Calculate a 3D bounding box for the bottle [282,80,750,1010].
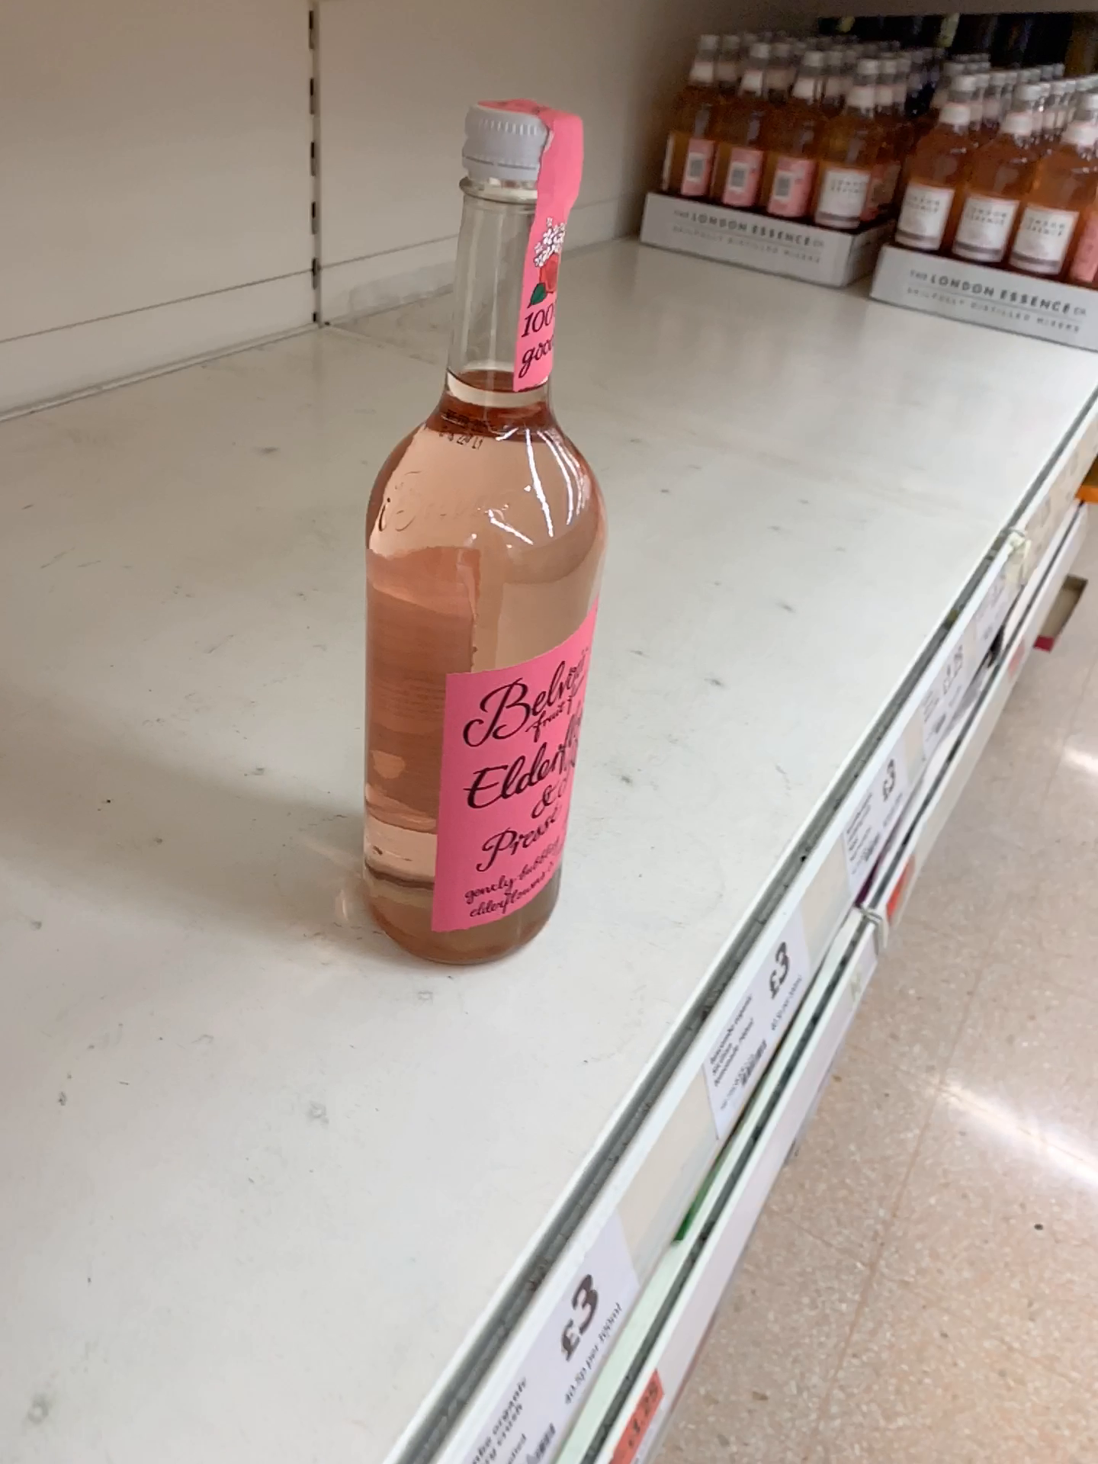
[{"bbox_3d":[-0.022,-0.050,0.370,0.086,0.274,0.087,5,34,-3],"label":"bottle"}]
